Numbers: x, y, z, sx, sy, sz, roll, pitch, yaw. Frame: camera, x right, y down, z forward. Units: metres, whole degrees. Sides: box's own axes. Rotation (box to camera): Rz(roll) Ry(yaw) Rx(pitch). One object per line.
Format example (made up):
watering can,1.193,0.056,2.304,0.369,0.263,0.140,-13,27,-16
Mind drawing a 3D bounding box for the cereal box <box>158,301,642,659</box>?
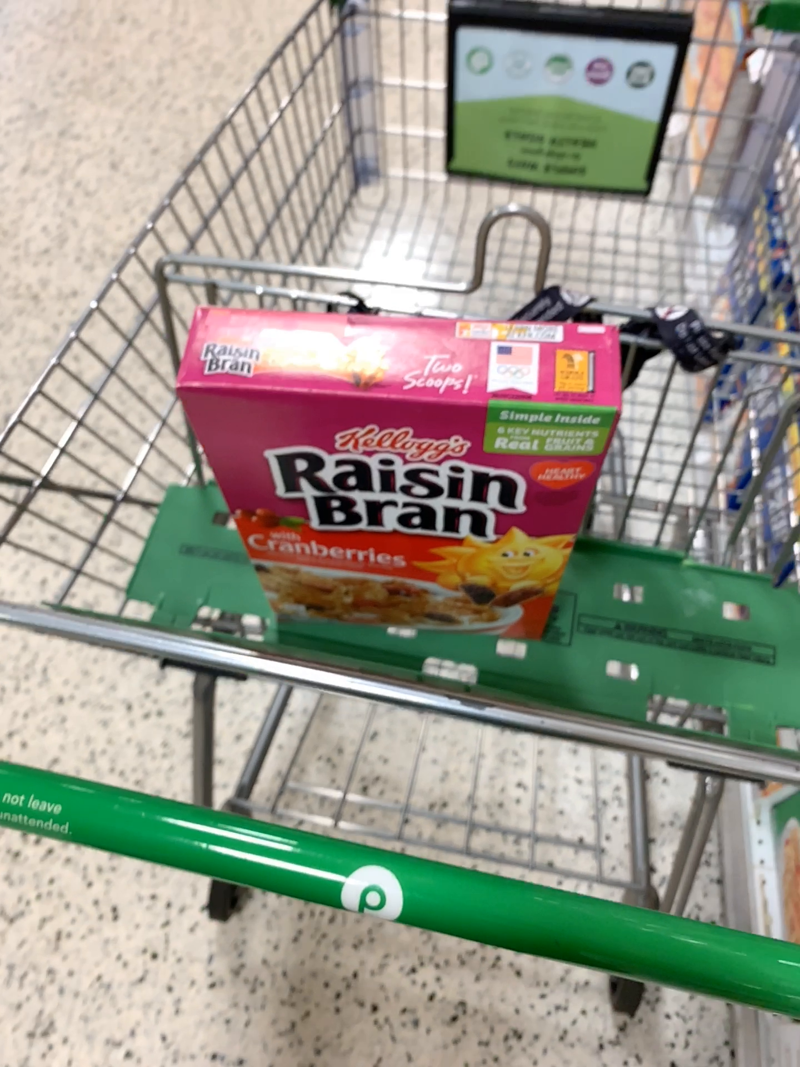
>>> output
cereal box,0.004,-0.005,0.518,0.210,0.328,0.050,4,64,4
